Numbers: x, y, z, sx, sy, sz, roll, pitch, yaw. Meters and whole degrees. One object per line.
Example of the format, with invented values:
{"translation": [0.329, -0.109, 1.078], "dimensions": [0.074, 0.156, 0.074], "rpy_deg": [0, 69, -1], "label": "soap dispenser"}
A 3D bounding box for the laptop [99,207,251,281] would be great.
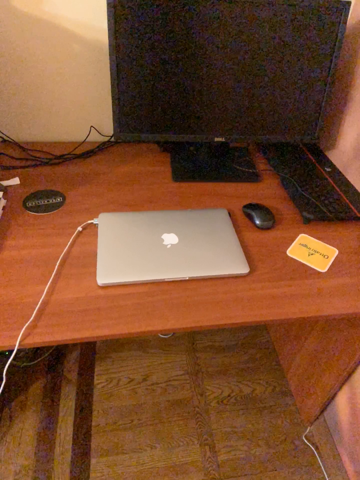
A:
{"translation": [-0.020, -0.001, 0.802], "dimensions": [0.305, 0.001, 0.214], "rpy_deg": [-3, 43, -9], "label": "laptop"}
